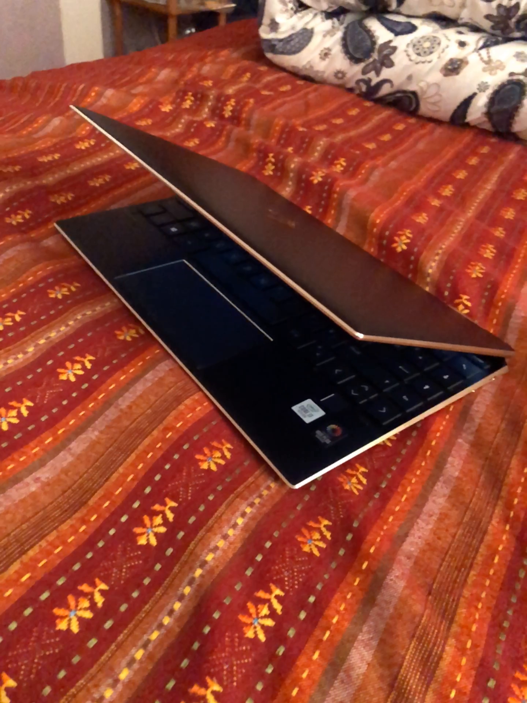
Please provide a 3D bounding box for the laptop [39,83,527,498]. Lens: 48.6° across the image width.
[{"bbox_3d":[0.001,-0.091,0.408,0.203,0.101,0.326,-19,44,-34],"label":"laptop"}]
